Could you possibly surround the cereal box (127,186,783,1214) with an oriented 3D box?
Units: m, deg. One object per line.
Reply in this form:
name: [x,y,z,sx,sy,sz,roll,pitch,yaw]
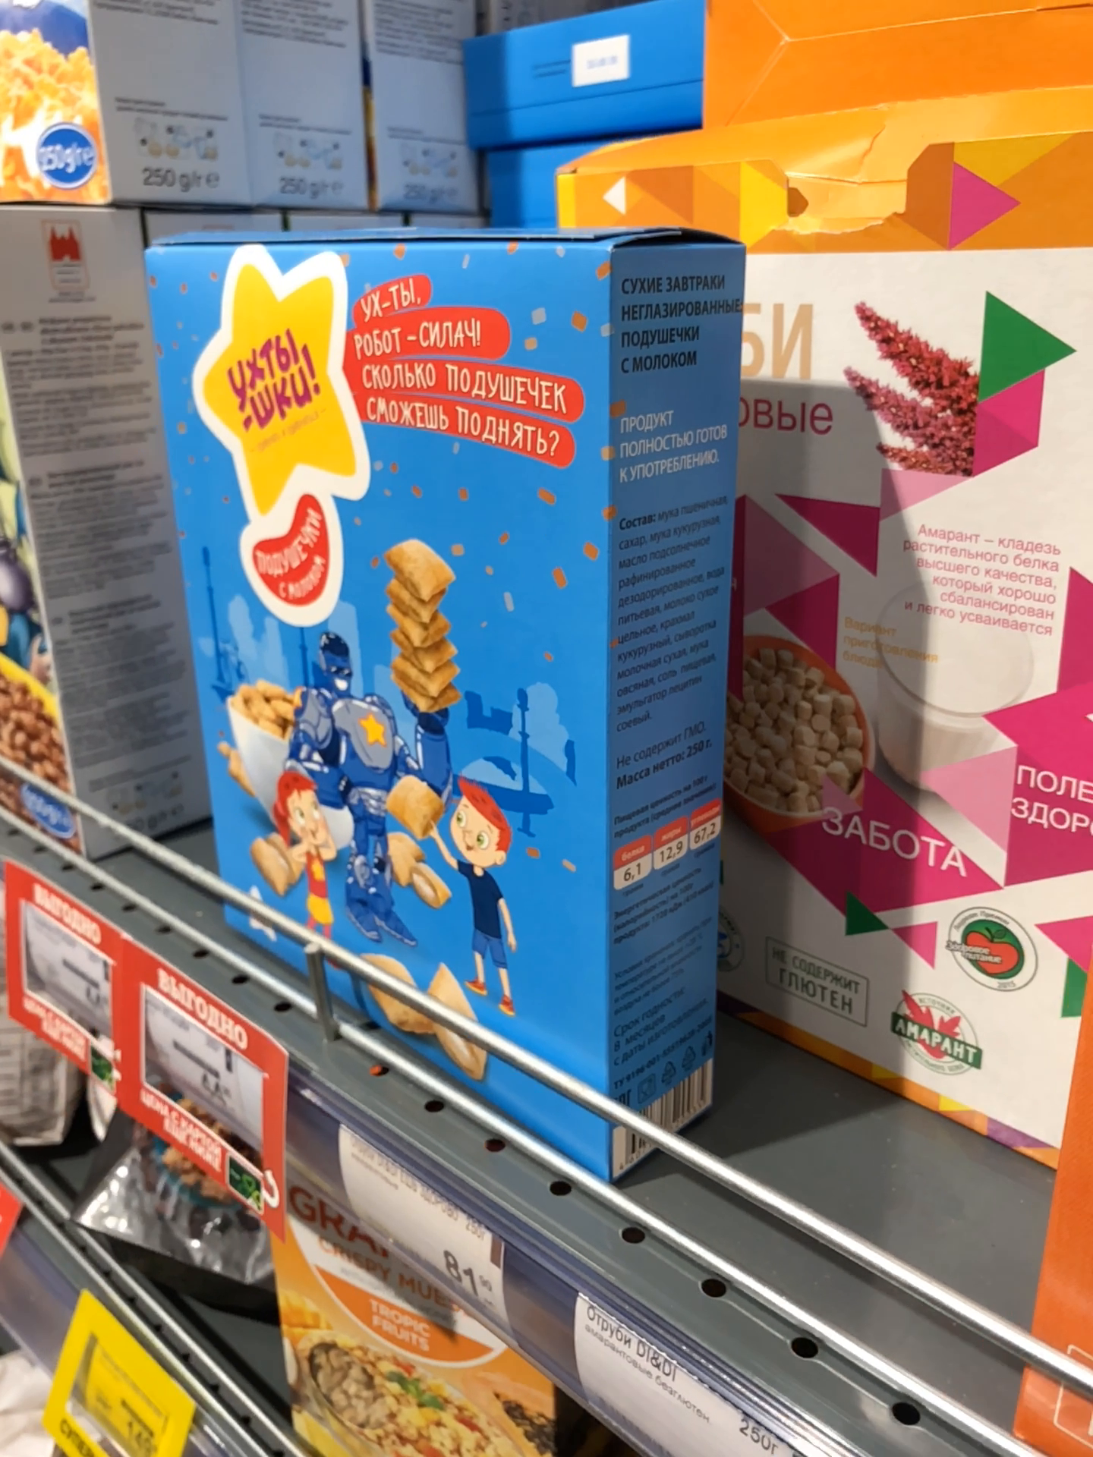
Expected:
cereal box: [-0.035,-0.020,0.351,0.050,0.239,0.201,-20,27,-40]
